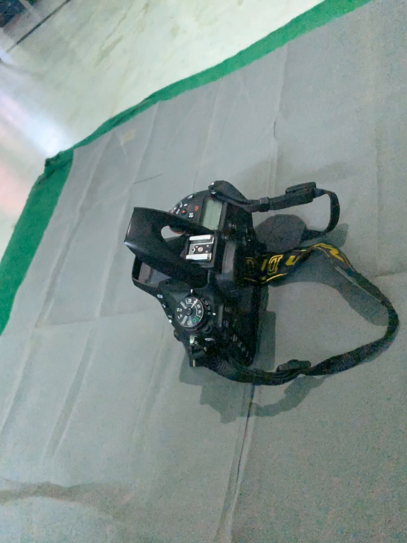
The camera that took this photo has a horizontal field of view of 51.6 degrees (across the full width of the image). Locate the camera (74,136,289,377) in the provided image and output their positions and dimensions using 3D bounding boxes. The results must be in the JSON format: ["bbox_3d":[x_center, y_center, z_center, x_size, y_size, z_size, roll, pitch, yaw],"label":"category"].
[{"bbox_3d":[-0.005,-0.003,0.348,0.101,0.125,0.140,-7,56,30],"label":"camera"}]
